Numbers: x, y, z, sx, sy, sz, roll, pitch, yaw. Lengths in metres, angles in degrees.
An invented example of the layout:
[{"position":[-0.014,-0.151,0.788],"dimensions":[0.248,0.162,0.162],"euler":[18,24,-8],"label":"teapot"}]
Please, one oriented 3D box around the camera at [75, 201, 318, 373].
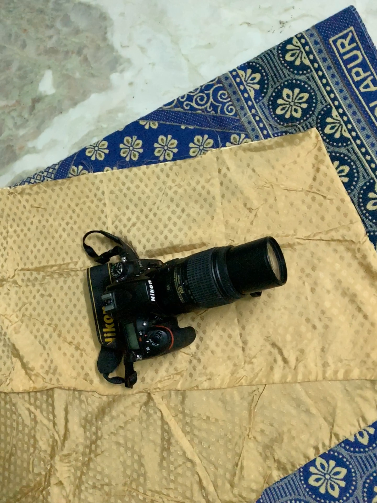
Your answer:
[{"position":[0.016,0.054,0.500],"dimensions":[0.240,0.180,0.140],"euler":[-16,78,25],"label":"camera"}]
